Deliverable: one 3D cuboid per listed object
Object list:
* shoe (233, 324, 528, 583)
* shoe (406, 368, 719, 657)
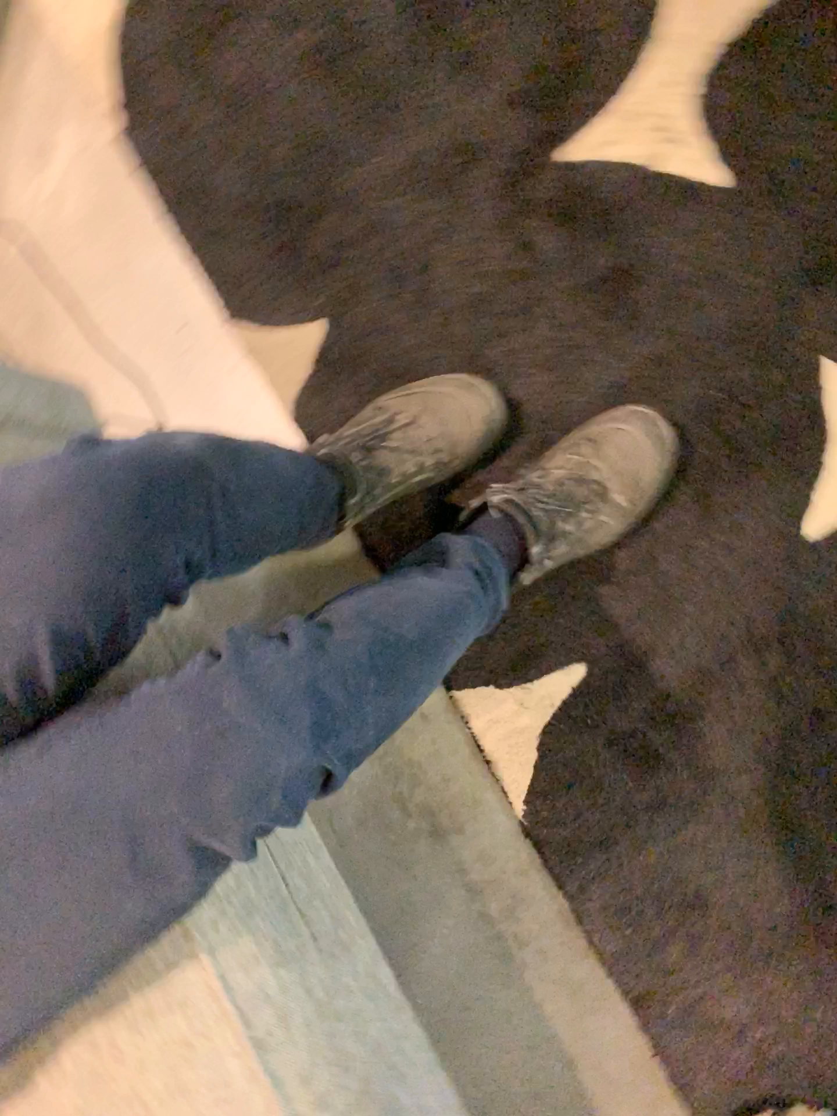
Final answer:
[{"bbox_3d":[-0.040,-0.104,0.907,0.285,0.077,0.119,-34,86,13],"label":"shoe"},{"bbox_3d":[0.141,-0.042,0.864,0.287,0.077,0.121,-41,85,12],"label":"shoe"}]
